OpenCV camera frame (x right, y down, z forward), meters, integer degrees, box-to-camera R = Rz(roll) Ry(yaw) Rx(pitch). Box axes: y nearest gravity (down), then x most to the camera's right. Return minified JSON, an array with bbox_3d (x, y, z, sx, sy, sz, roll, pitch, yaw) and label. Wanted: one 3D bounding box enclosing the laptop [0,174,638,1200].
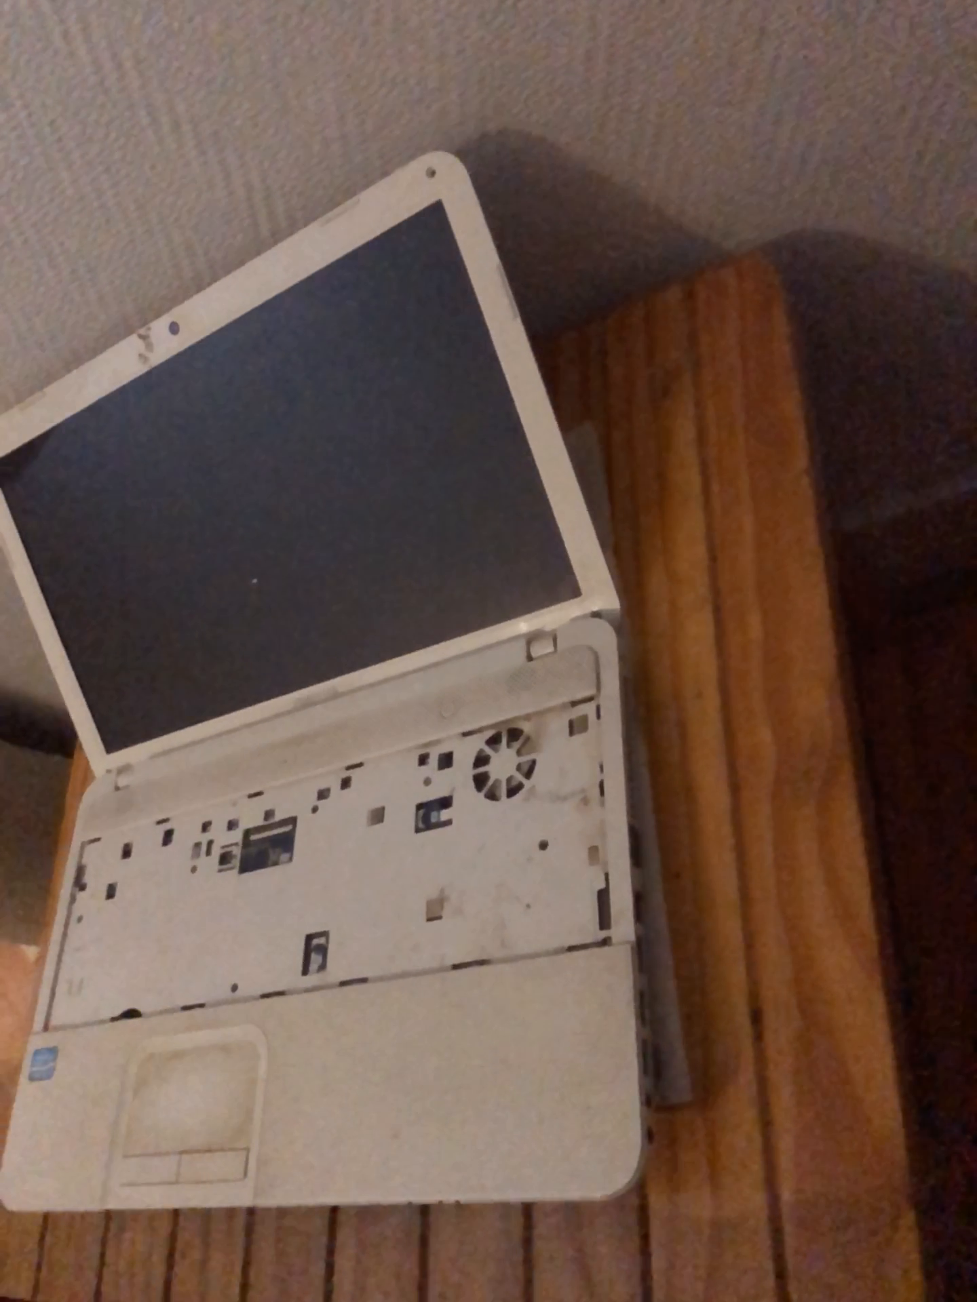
[{"bbox_3d":[-0.131,0.032,0.532,0.372,0.118,0.419,-19,55,30],"label":"laptop"}]
